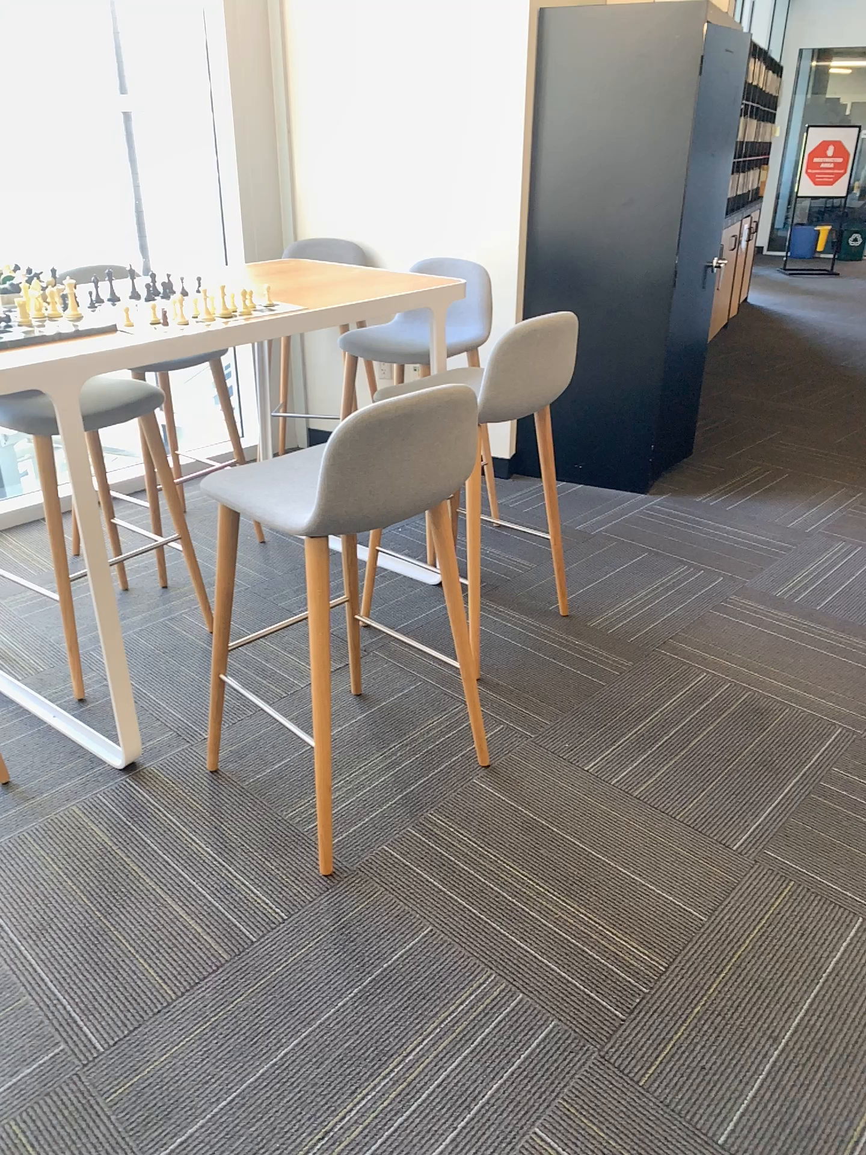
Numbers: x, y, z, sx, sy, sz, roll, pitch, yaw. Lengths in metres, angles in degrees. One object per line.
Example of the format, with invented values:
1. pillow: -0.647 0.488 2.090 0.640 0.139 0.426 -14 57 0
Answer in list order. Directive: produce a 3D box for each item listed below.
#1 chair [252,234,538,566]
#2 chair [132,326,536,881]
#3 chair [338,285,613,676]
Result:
1. chair: -0.138 -0.705 3.292 0.783 0.994 0.622 20 32 35
2. chair: -0.196 0.009 1.901 0.551 0.935 0.552 -23 34 -40
3. chair: 0.113 -0.312 2.574 0.552 0.935 0.501 20 32 34
